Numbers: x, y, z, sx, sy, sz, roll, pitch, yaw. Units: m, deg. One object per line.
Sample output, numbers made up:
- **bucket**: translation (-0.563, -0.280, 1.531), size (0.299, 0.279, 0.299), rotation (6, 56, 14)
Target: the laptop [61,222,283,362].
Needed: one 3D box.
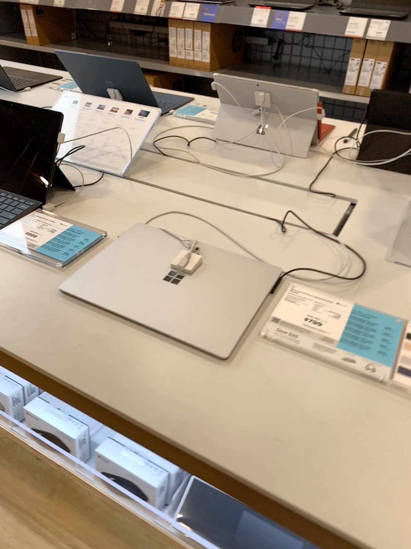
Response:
- **laptop**: translation (-0.050, 0.009, 0.704), size (0.297, 0.008, 0.221), rotation (19, 43, 21)
